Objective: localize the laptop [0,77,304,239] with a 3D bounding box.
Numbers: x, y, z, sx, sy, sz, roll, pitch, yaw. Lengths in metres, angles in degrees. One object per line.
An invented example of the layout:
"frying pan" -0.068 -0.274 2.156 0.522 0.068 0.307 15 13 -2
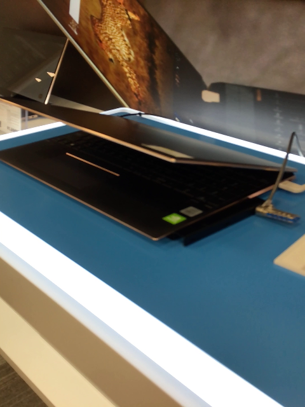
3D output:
"laptop" -0.033 -0.095 0.581 0.241 0.089 0.360 -29 41 -36
